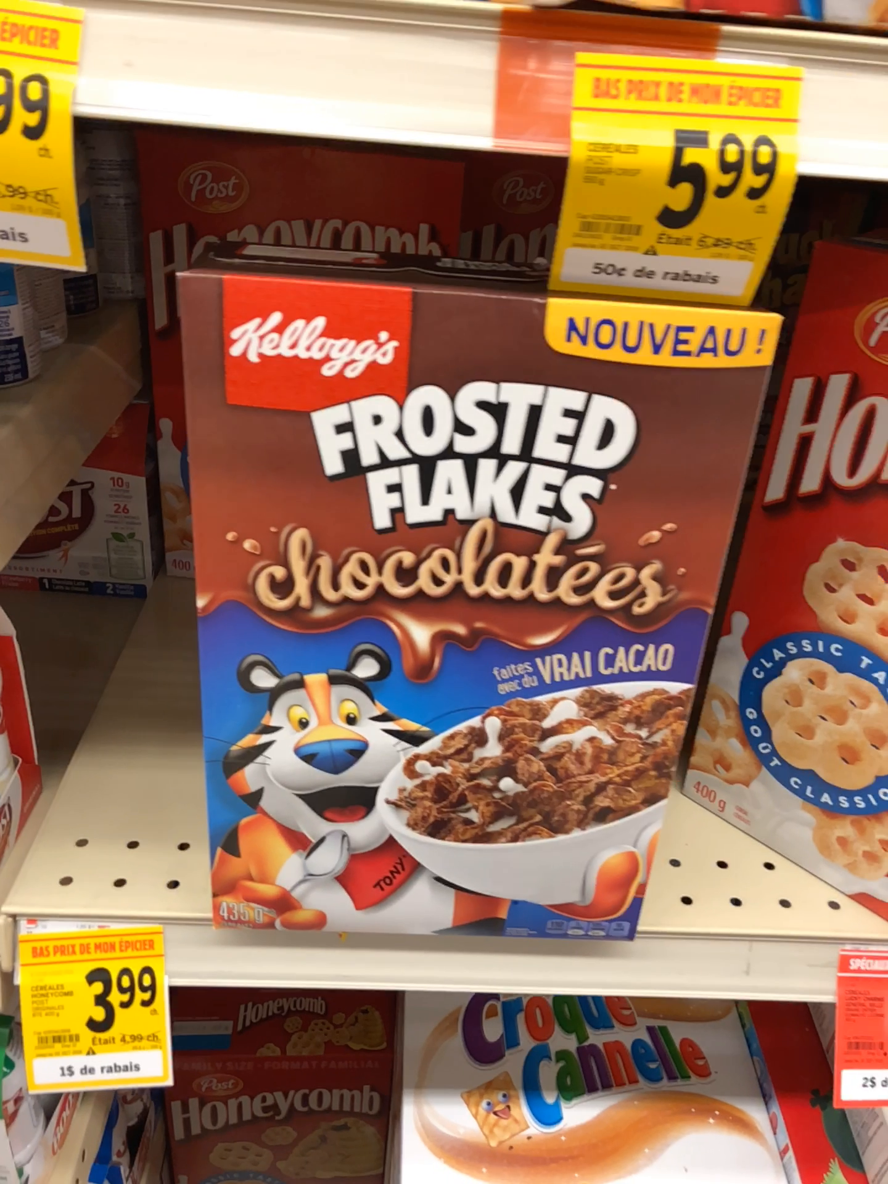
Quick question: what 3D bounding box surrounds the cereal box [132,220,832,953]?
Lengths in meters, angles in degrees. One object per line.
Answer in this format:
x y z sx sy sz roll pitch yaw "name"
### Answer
0.002 0.013 0.389 0.210 0.278 0.071 3 28 -3 "cereal box"
